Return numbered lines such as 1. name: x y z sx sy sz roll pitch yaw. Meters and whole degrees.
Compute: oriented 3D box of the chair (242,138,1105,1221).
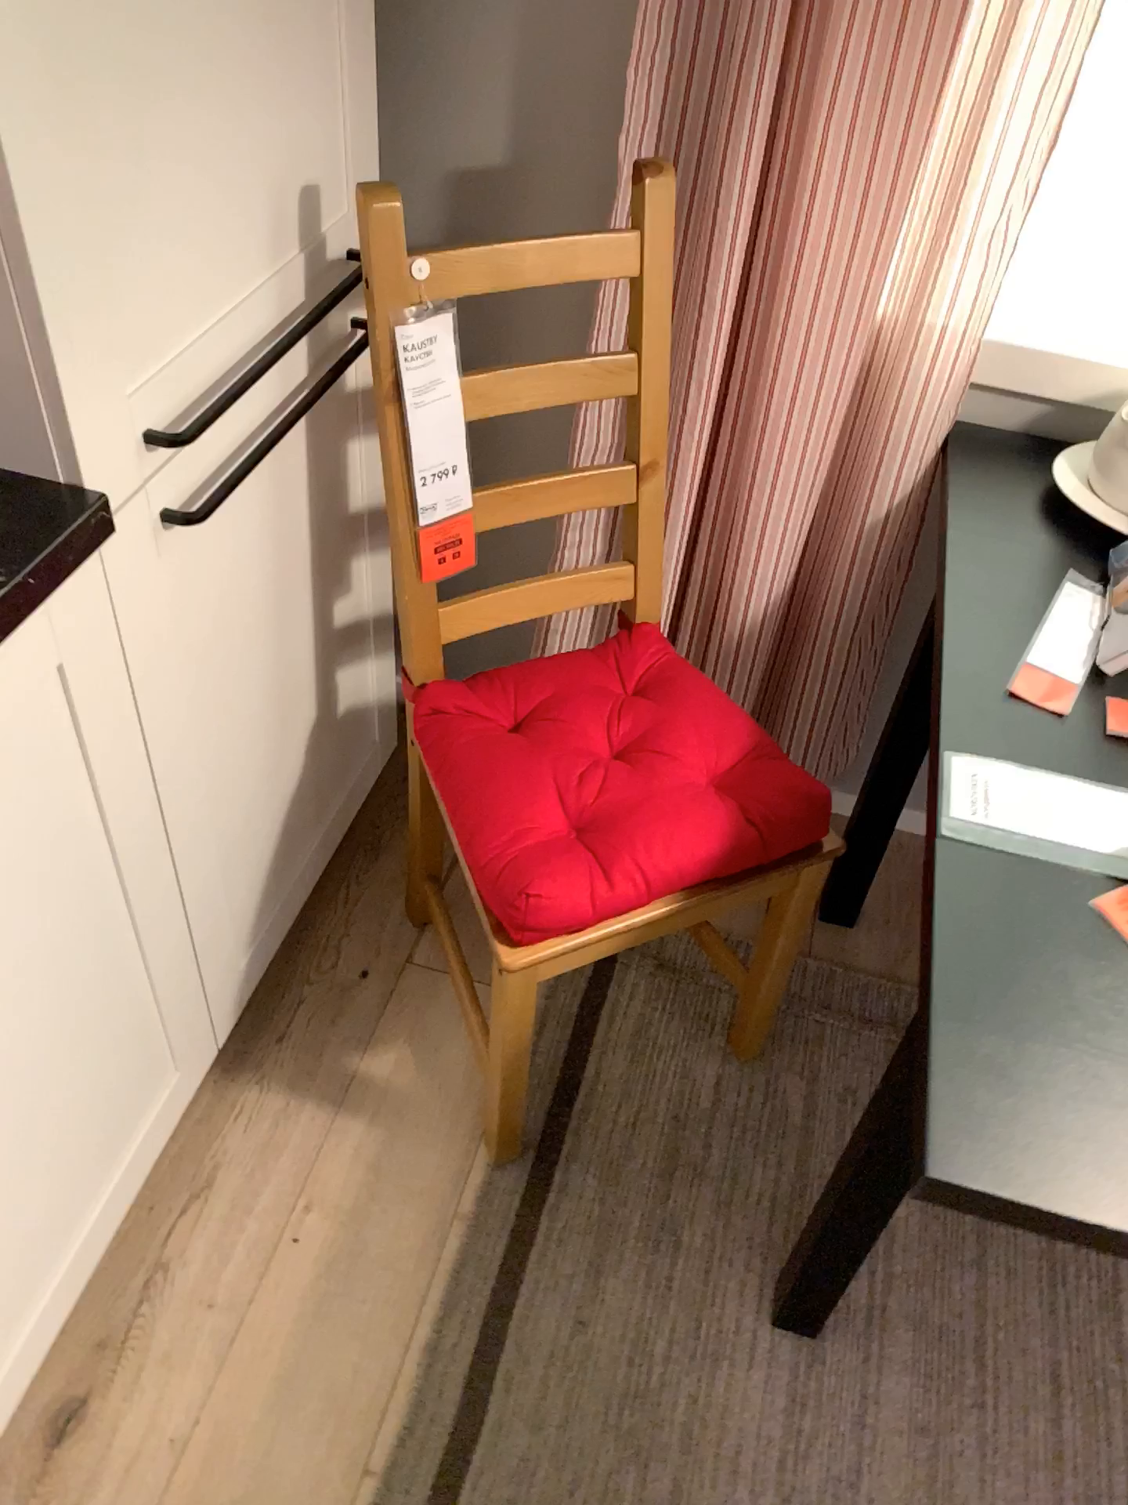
1. chair: 0.021 -0.044 1.332 0.501 1.015 0.582 -18 50 -23
